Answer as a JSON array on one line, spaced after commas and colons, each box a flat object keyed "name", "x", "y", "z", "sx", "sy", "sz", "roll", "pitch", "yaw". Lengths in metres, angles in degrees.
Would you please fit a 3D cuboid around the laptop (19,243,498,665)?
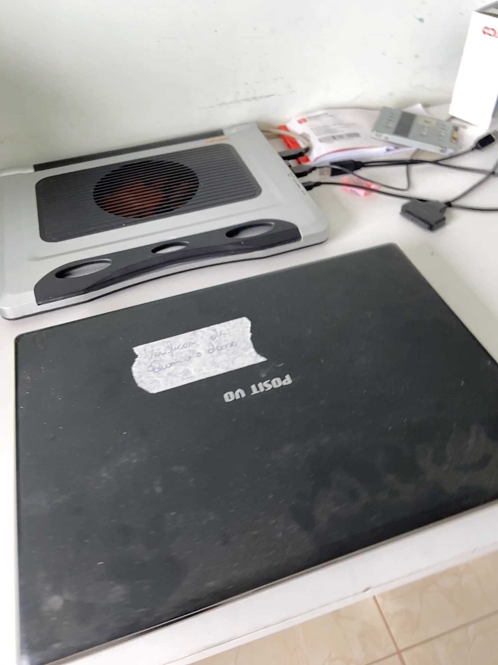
[{"name": "laptop", "x": 0.008, "y": 0.046, "z": 0.364, "sx": 0.328, "sy": 0.008, "sz": 0.234, "roll": -15, "pitch": 49, "yaw": -10}]
